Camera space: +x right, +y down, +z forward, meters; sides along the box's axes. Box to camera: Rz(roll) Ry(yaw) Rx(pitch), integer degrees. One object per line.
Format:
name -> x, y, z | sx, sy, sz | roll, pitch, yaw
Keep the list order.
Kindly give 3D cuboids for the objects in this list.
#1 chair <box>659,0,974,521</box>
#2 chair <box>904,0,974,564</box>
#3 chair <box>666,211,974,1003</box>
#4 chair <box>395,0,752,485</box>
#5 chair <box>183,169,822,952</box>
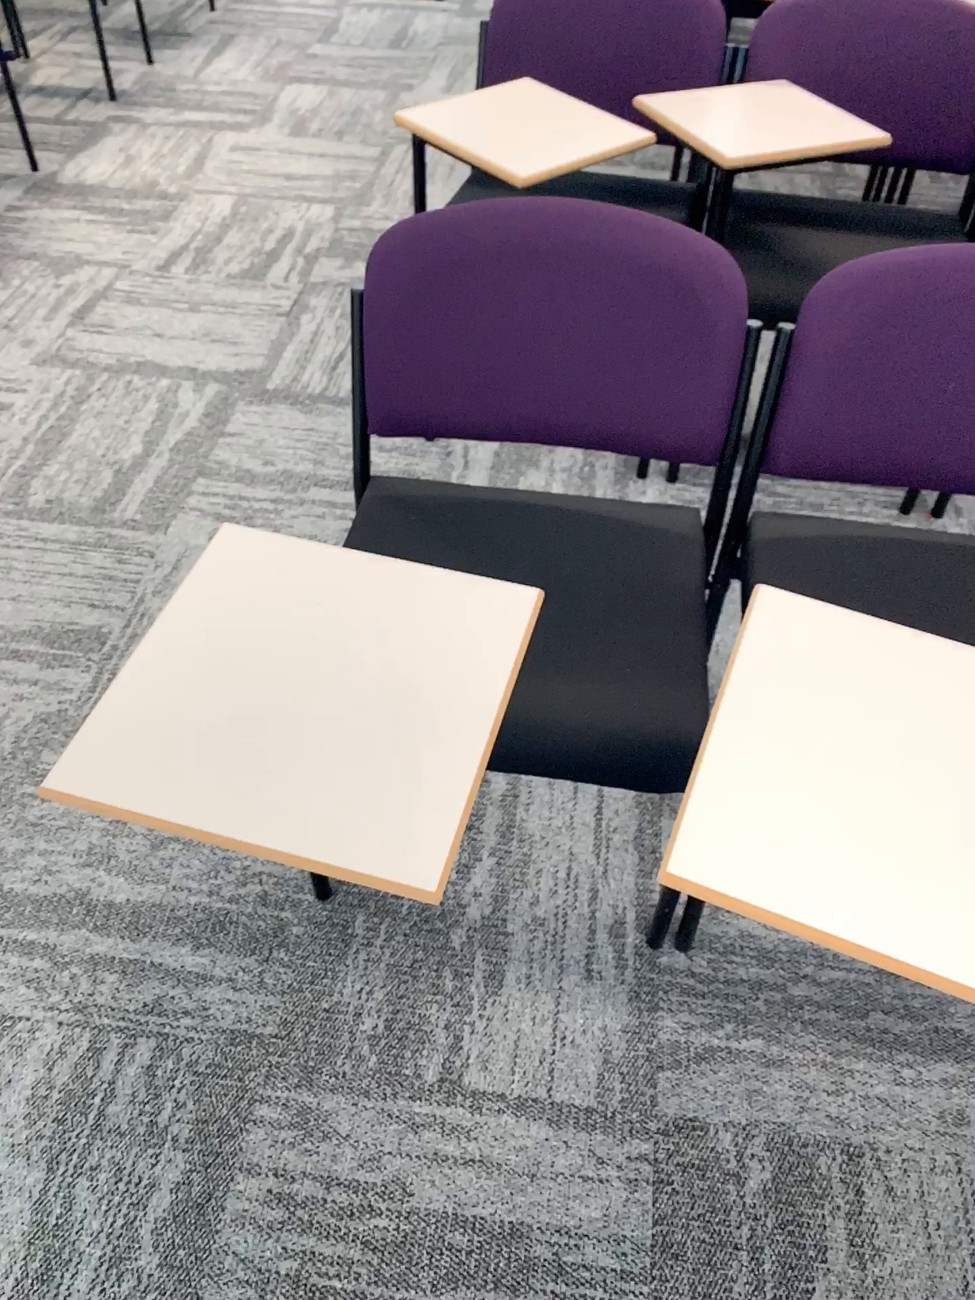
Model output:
chair -> 0.667, -0.747, 1.902 | 0.516, 0.782, 0.505 | 10, 47, 8
chair -> 1.169, -0.663, 1.821 | 0.516, 0.802, 0.505 | 11, 47, 8
chair -> 0.541, -0.014, 1.217 | 0.516, 0.792, 0.495 | 7, 47, 5
chair -> 0.161, -0.842, 1.974 | 0.516, 0.802, 0.505 | 11, 47, 9
chair -> 0.034, -0.075, 1.260 | 0.516, 0.802, 0.505 | 7, 47, 5
